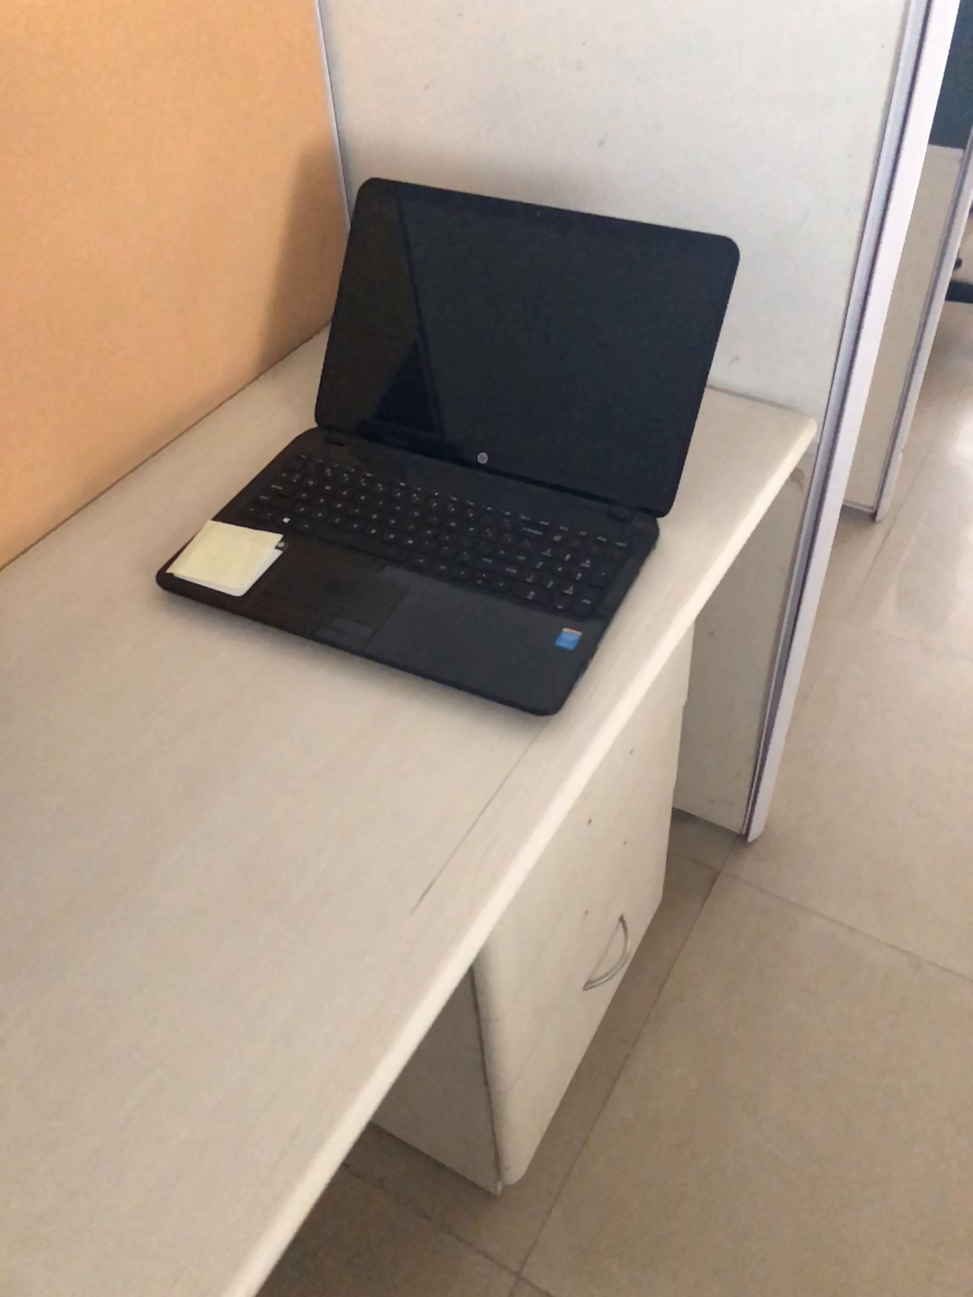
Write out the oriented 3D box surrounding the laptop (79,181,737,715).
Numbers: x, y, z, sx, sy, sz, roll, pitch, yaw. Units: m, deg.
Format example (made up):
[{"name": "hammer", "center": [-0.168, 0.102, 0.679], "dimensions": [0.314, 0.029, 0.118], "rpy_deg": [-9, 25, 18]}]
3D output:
[{"name": "laptop", "center": [-0.038, -0.210, 0.949], "dimensions": [0.391, 0.204, 0.418], "rpy_deg": [17, 48, 20]}]
